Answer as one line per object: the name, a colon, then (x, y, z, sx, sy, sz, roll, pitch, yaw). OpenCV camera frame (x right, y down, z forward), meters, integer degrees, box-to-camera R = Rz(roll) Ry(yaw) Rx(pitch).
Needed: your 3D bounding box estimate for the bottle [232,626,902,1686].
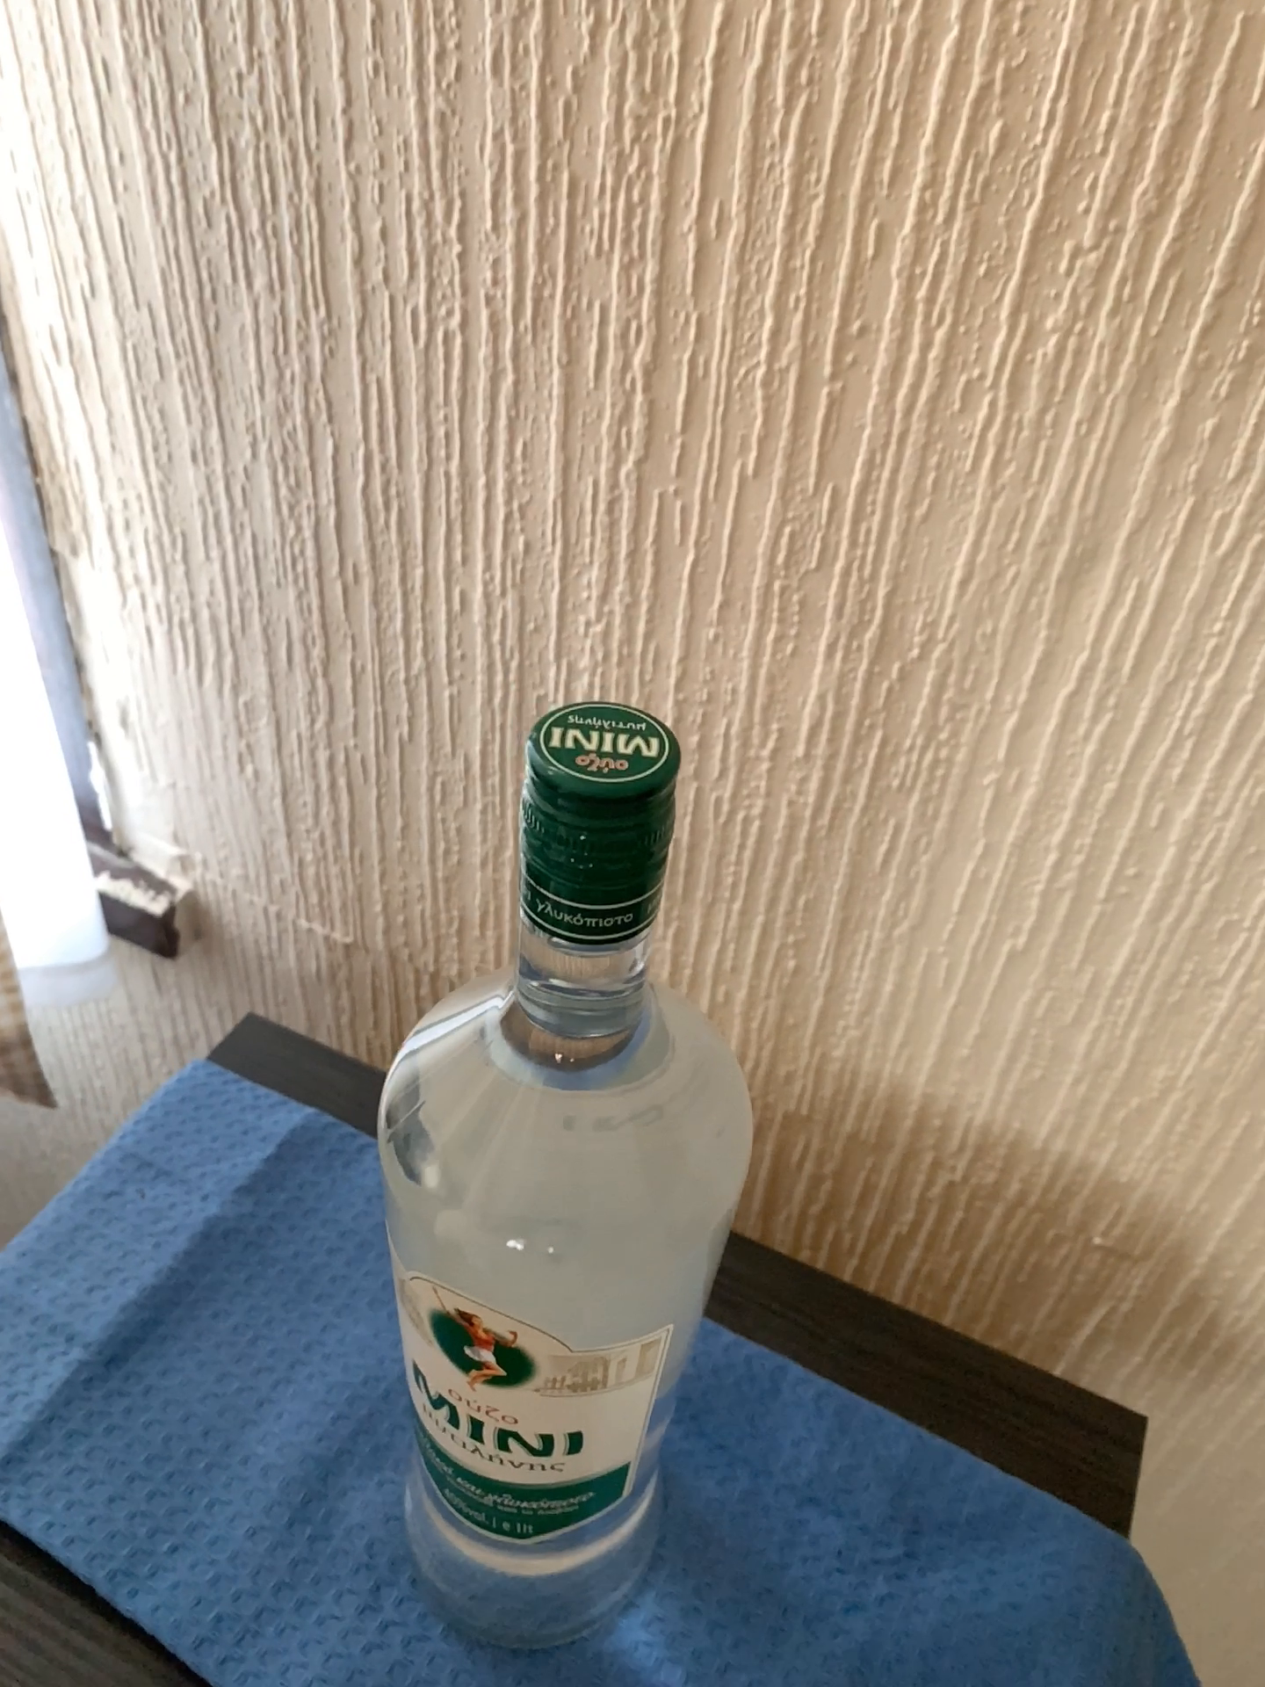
bottle: (-0.021, 0.112, 0.324, 0.090, 0.317, 0.071, 22, 43, 17)
